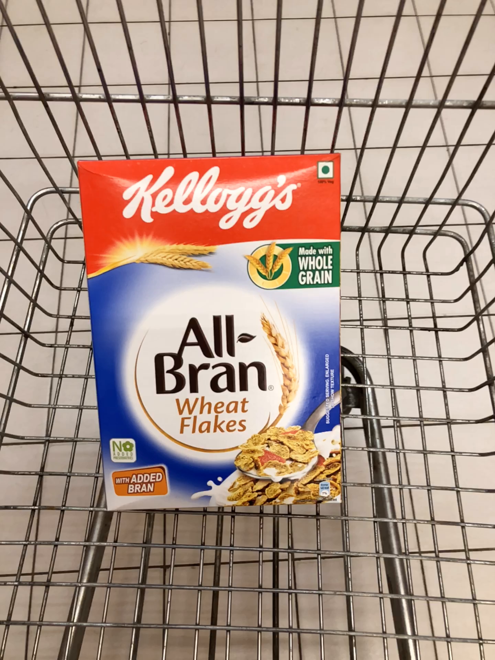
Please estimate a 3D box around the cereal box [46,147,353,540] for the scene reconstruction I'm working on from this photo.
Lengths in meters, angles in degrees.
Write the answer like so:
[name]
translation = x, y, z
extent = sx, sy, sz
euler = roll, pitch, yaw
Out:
[cereal box]
translation = -0.028, 0.010, 0.407
extent = 0.190, 0.080, 0.270
euler = -1, 103, -1
